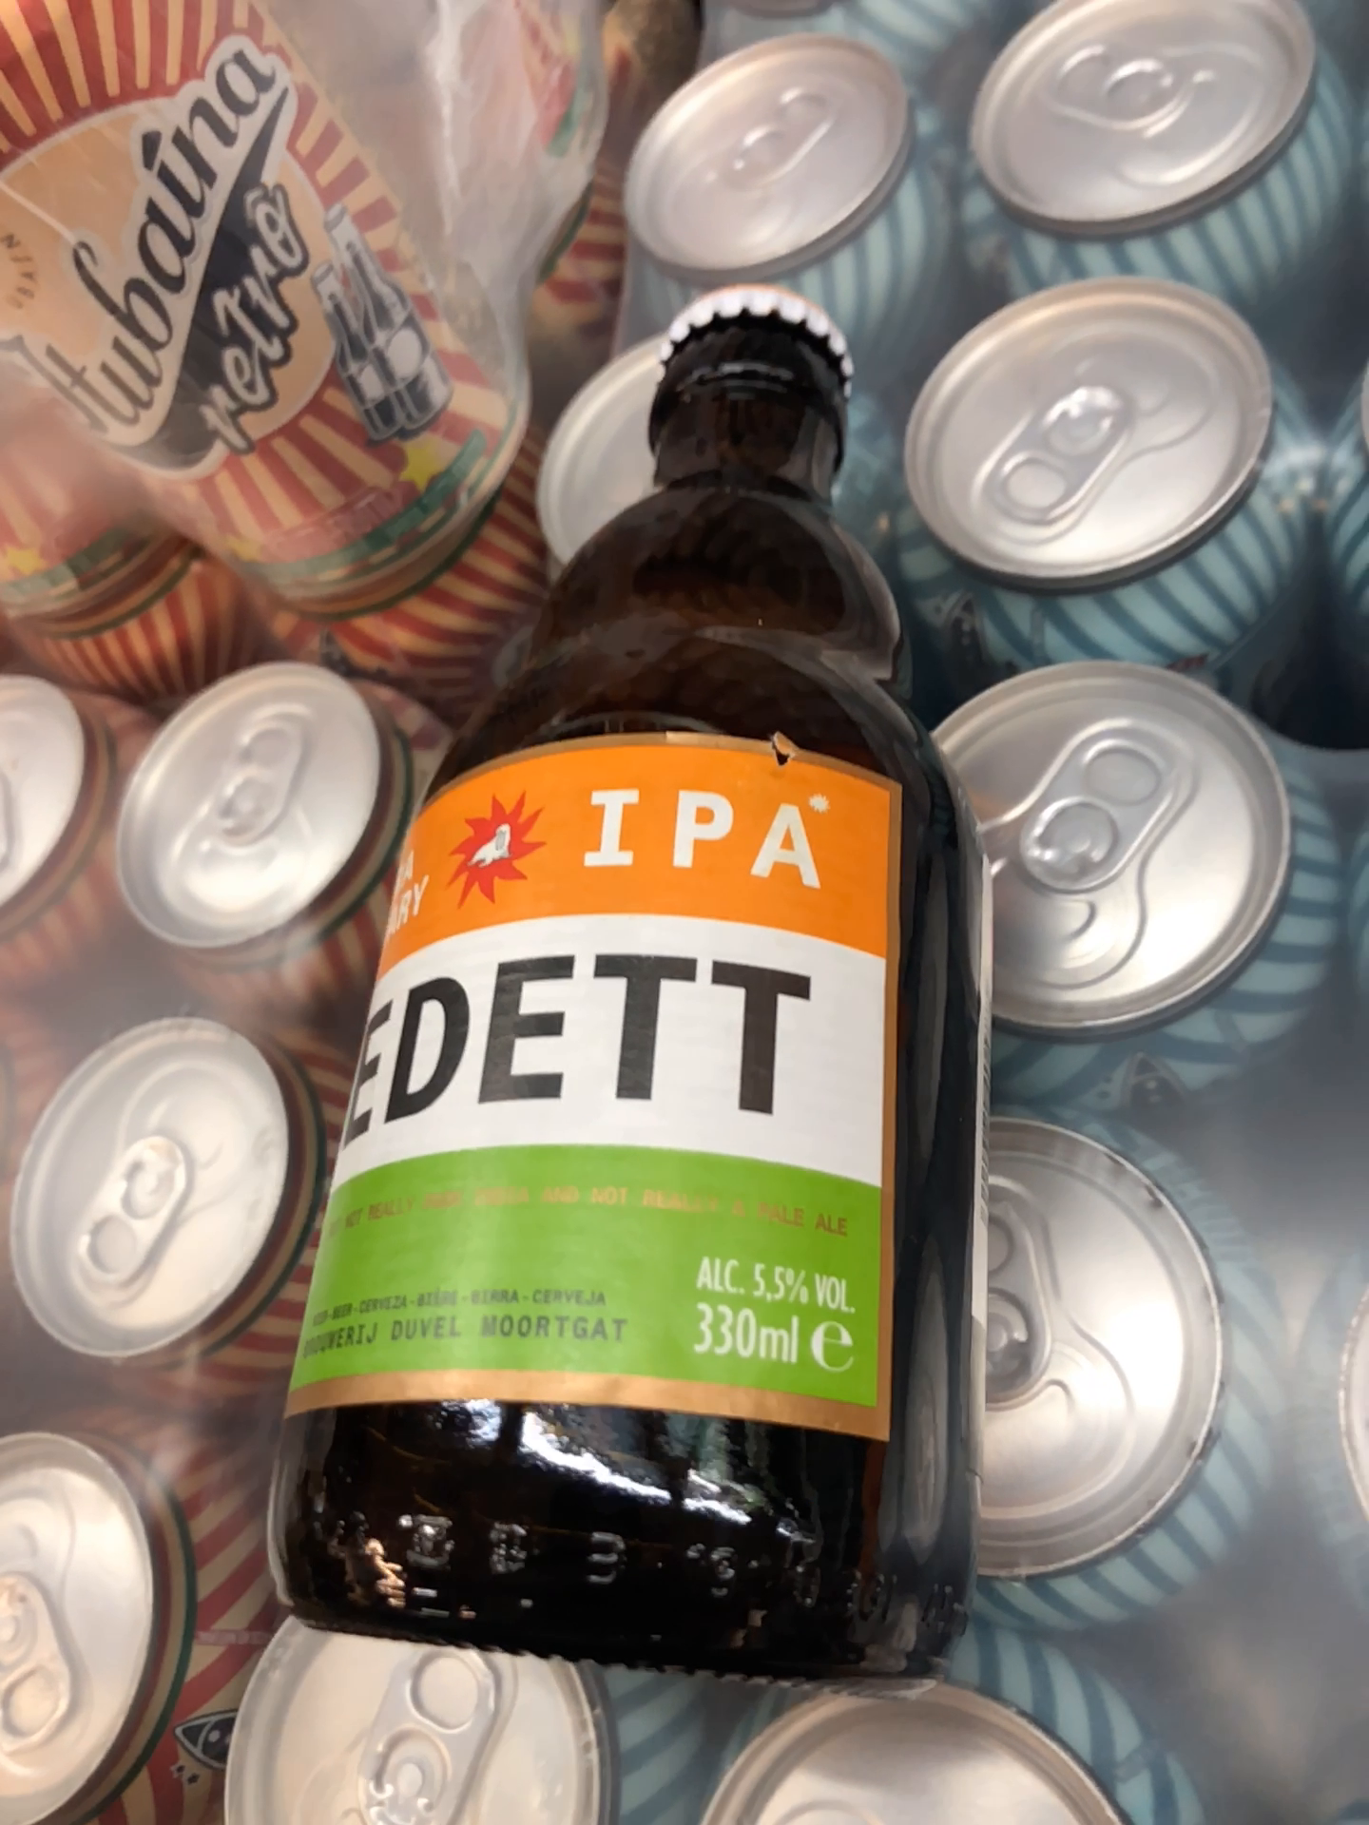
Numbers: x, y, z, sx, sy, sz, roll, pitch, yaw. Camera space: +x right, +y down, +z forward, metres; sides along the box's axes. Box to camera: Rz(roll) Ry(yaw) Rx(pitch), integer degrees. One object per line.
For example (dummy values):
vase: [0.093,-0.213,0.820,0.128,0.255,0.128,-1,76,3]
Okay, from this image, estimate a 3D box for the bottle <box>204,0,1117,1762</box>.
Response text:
bottle: [0.008,-0.013,0.185,0.070,0.060,0.190,-6,65,22]
